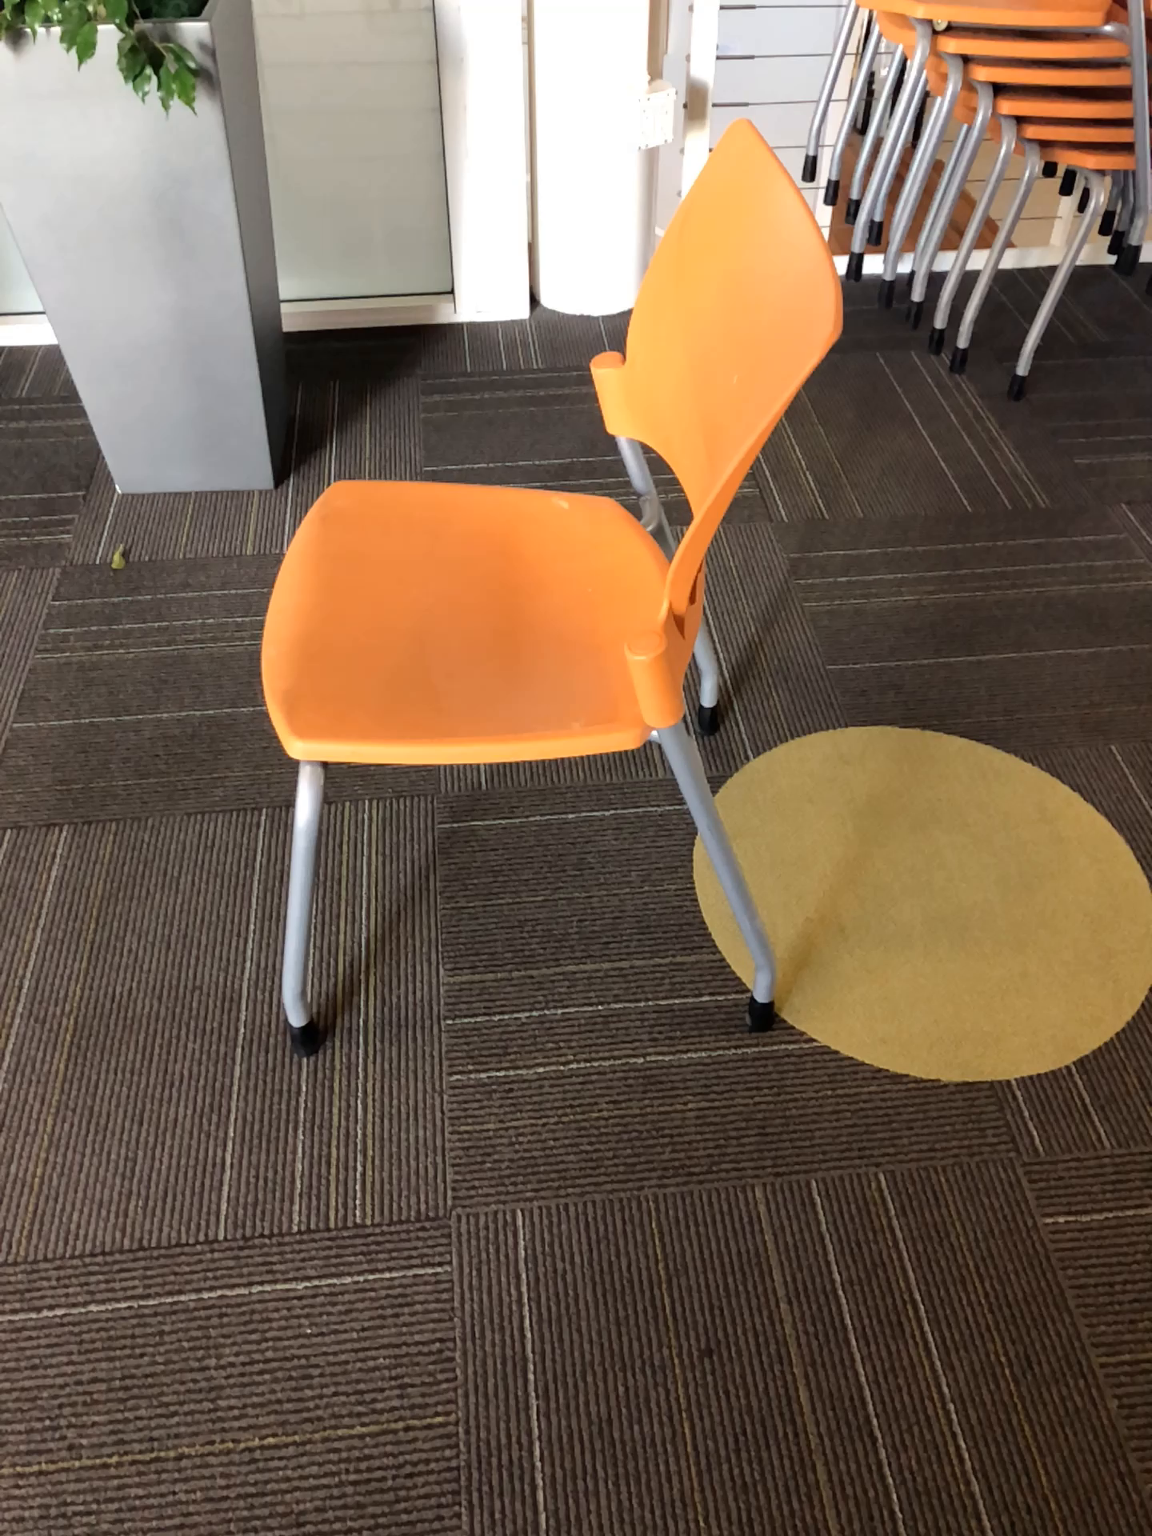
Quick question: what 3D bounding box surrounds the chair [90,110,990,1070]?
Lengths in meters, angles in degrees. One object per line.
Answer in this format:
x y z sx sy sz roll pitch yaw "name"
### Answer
-0.043 -0.187 1.347 0.610 0.746 0.643 -3 43 -3 "chair"
